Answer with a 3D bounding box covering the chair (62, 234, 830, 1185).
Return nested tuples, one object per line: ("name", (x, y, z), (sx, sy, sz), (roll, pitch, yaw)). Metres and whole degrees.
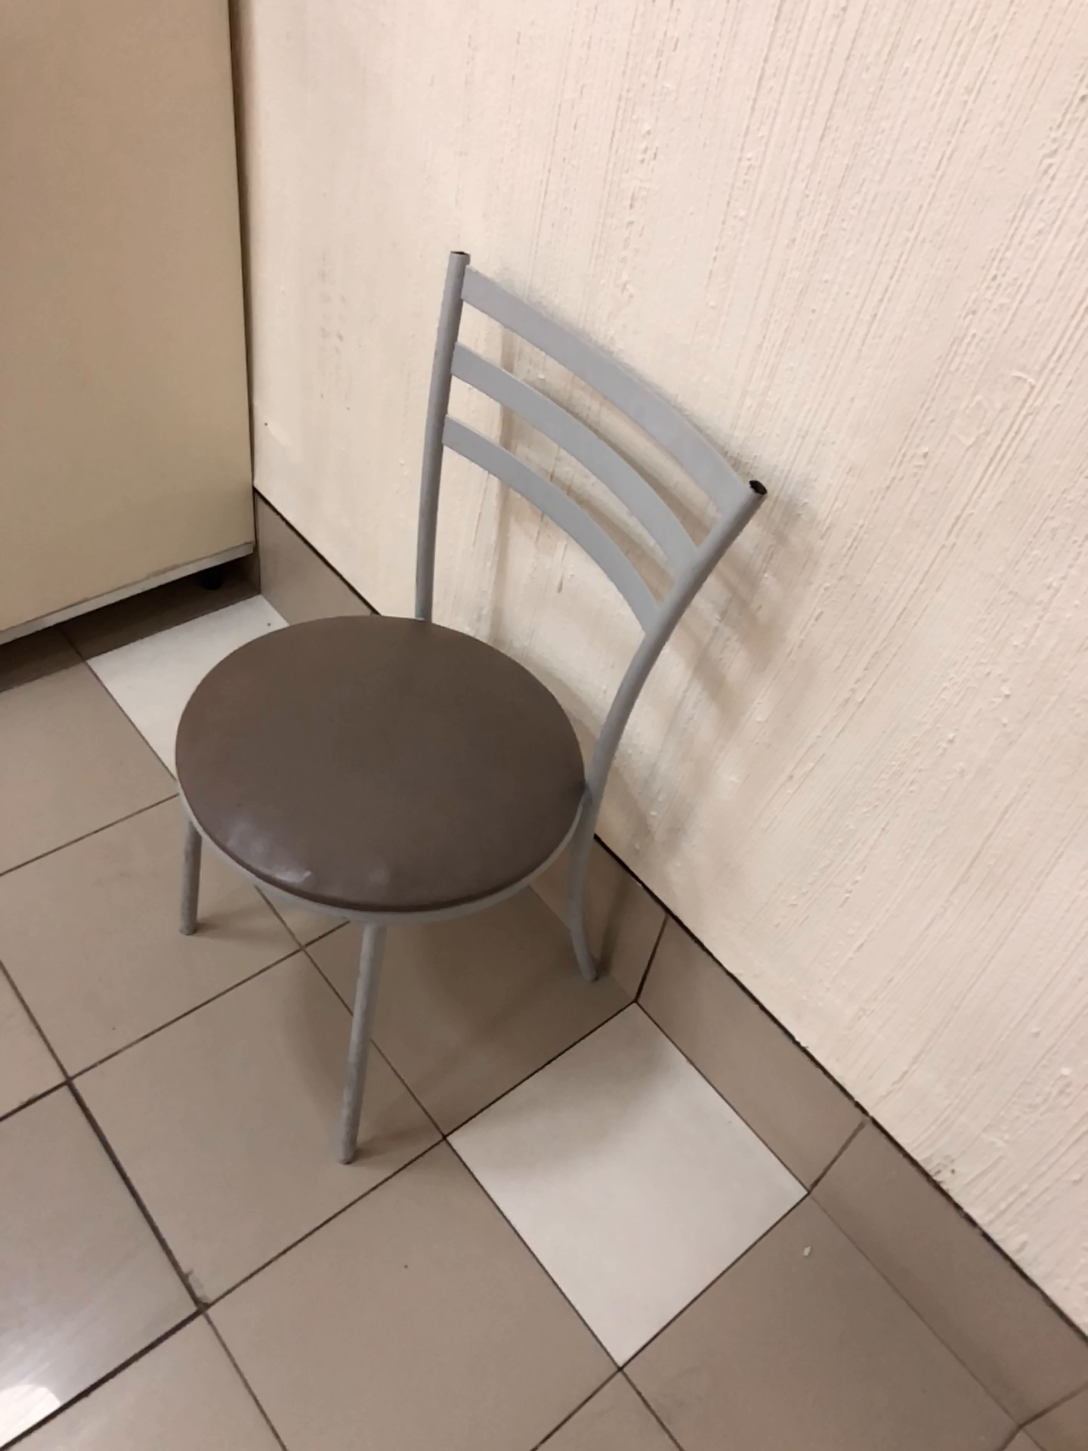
("chair", (-0.127, 0.010, 1.200), (0.422, 0.765, 0.431), (-28, 58, -32))
